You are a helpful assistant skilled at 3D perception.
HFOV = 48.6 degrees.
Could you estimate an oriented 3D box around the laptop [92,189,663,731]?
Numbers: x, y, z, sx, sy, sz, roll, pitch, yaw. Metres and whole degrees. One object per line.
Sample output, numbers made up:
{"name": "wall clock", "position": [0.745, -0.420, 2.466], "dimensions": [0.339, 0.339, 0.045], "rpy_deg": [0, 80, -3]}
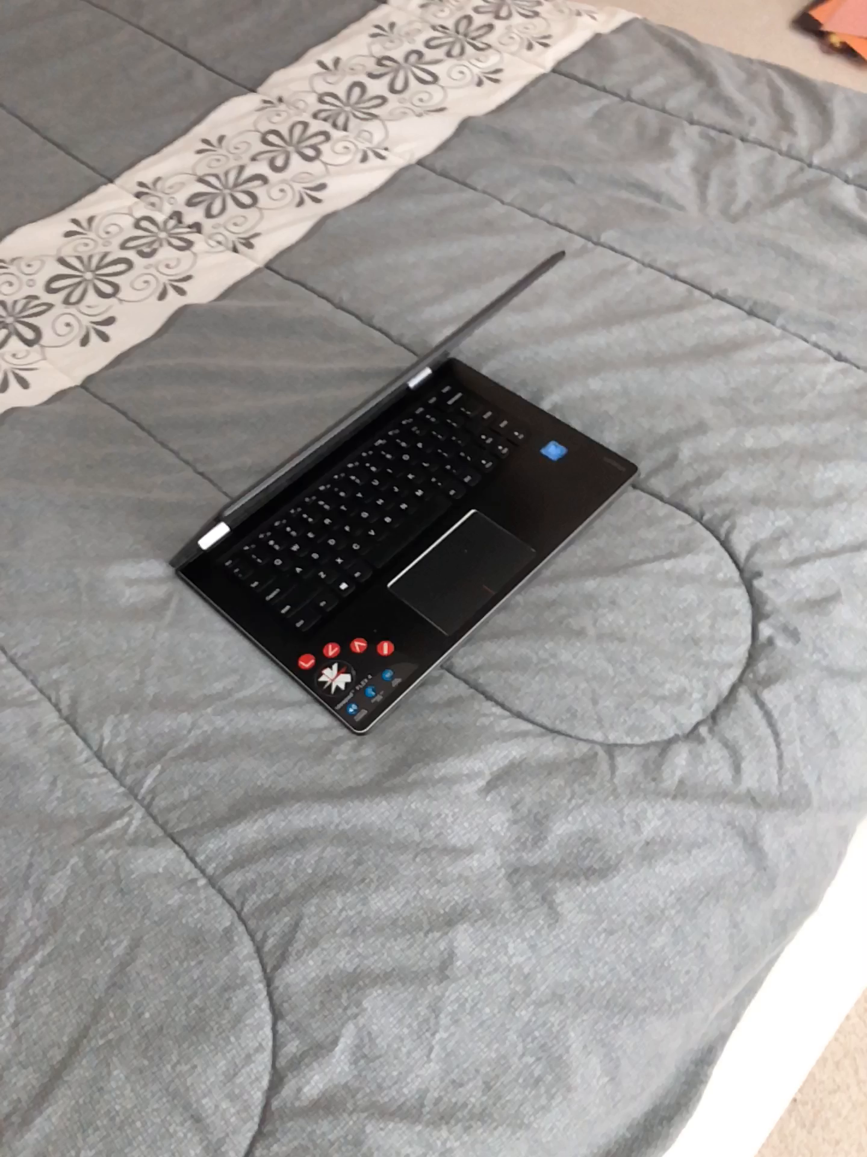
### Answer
{"name": "laptop", "position": [-0.027, -0.095, 0.682], "dimensions": [0.215, 0.168, 0.304], "rpy_deg": [37, 66, 27]}
